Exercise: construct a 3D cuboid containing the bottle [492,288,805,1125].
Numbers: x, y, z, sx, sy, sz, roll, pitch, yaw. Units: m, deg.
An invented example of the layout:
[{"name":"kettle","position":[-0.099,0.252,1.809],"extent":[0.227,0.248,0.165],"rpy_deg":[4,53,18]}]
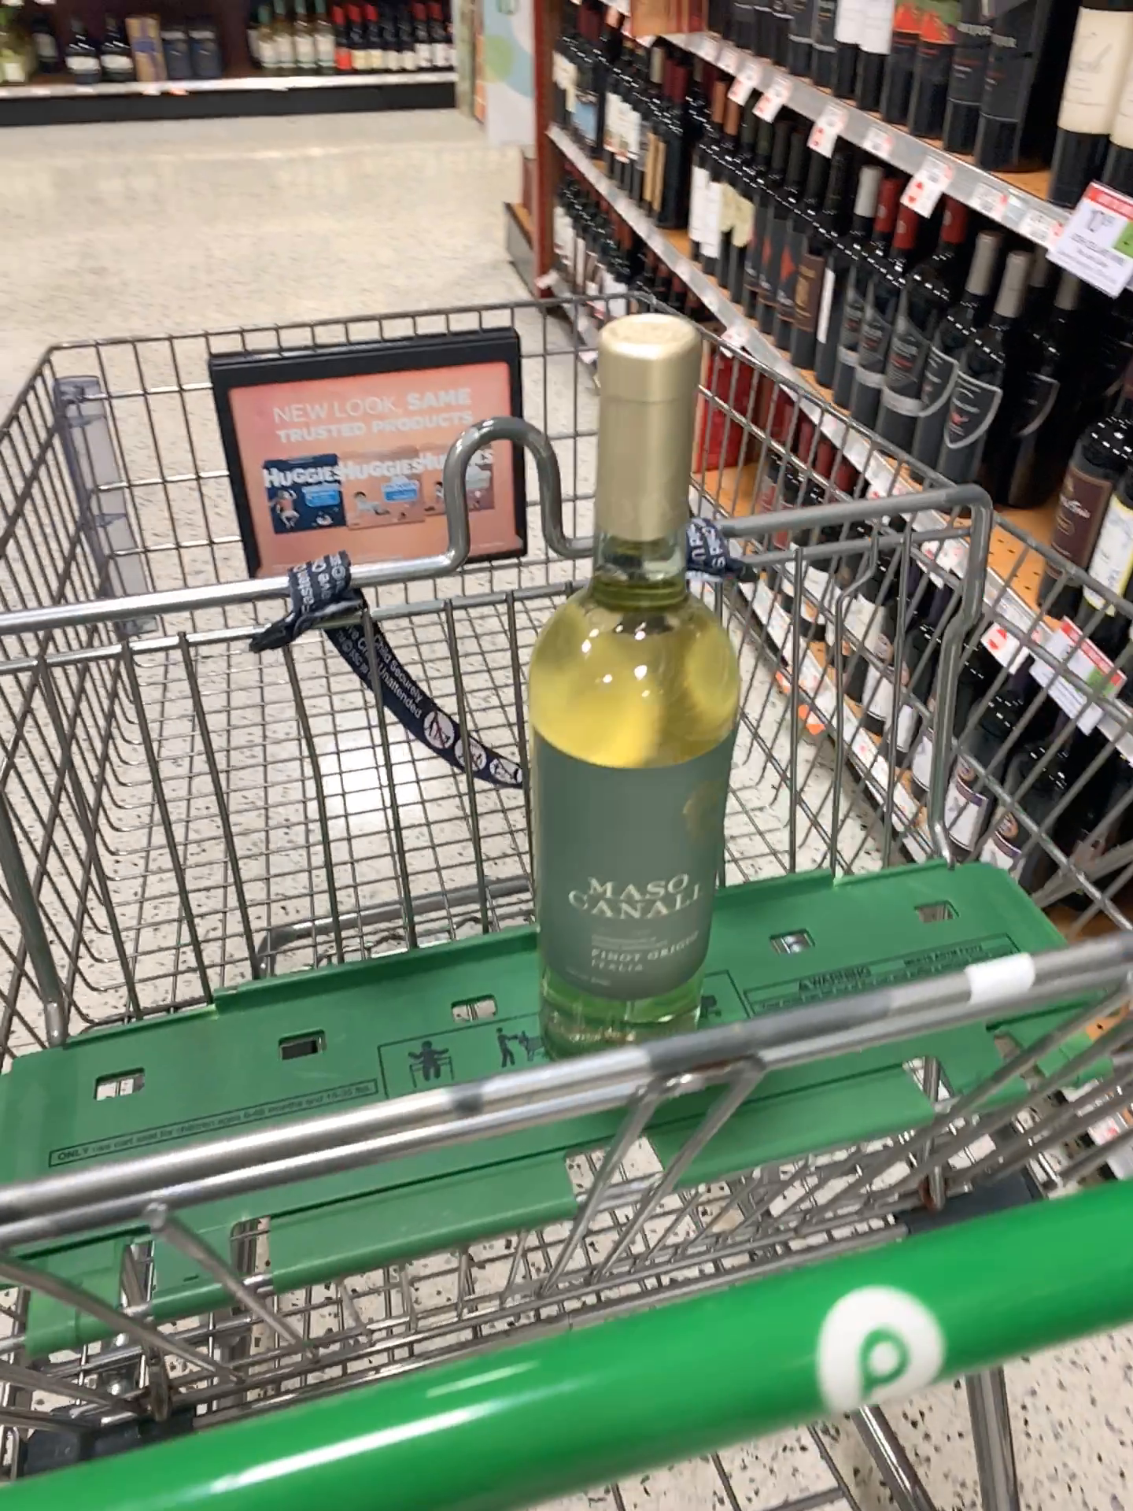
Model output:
[{"name":"bottle","position":[0.022,0.004,0.462],"extent":[0.080,0.336,0.091],"rpy_deg":[-5,39,-6]}]
